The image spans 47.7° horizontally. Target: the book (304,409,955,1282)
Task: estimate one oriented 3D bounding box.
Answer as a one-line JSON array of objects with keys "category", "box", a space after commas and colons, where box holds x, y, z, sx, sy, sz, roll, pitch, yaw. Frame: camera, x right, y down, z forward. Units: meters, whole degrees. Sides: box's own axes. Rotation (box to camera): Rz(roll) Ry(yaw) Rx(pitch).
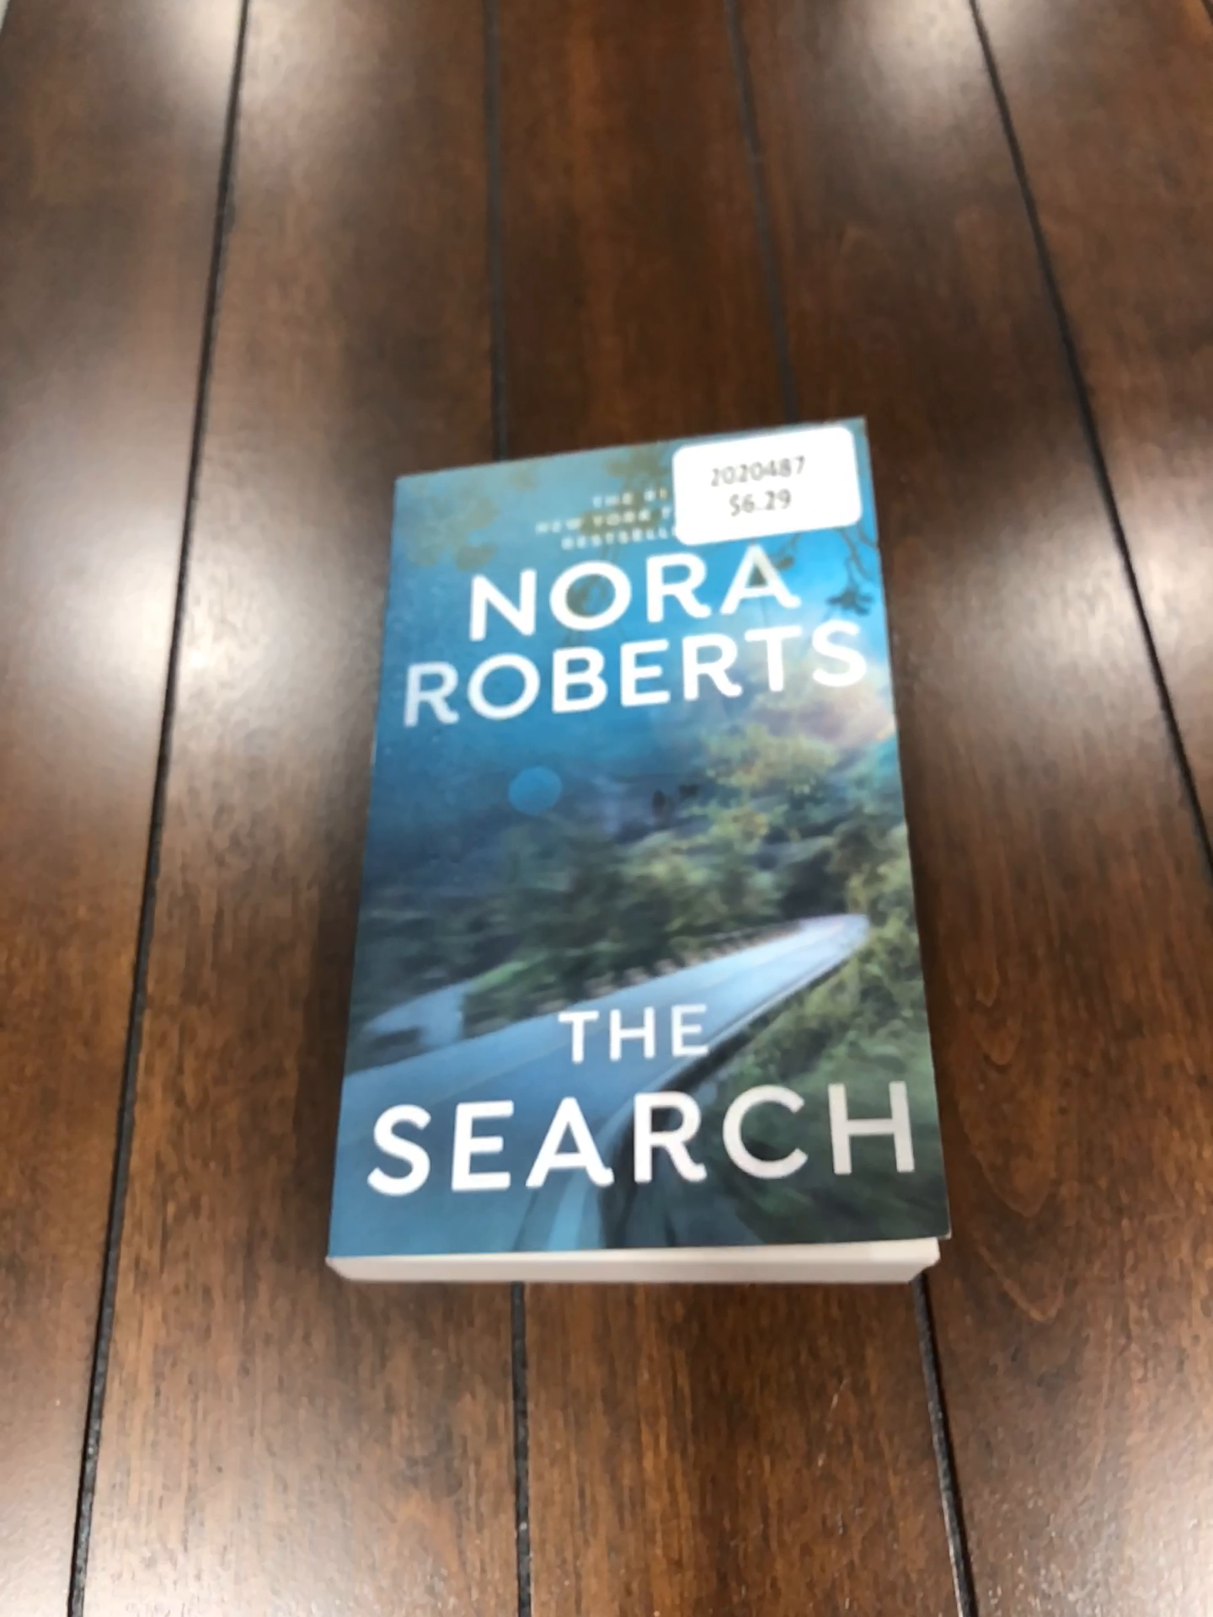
[{"category": "book", "box": [0.007, 0.005, 0.285, 0.108, 0.050, 0.170, -4, 63, 9]}]
